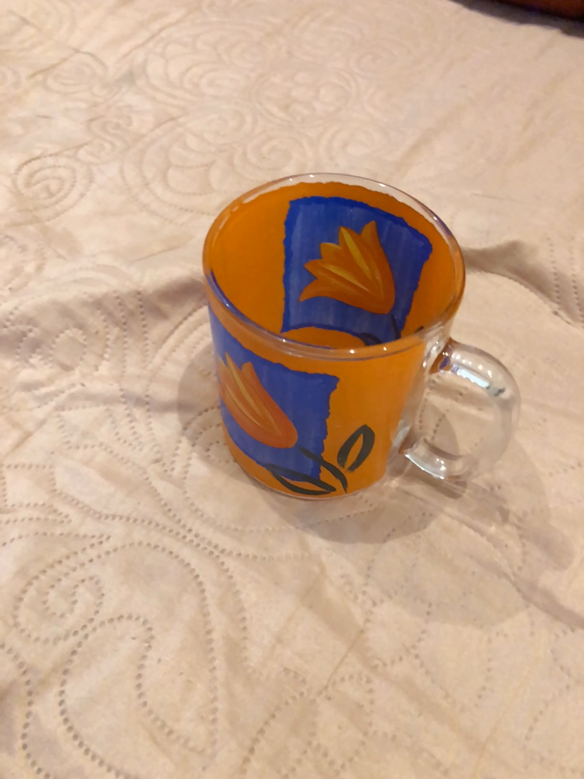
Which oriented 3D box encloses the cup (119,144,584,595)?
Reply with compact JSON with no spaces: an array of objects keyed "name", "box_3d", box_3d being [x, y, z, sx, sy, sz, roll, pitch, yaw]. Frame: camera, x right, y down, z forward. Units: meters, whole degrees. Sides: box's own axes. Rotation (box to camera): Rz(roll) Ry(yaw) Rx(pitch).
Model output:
[{"name":"cup","box_3d":[0.018,-0.008,0.225,0.110,0.089,0.080,29,59,20]}]
